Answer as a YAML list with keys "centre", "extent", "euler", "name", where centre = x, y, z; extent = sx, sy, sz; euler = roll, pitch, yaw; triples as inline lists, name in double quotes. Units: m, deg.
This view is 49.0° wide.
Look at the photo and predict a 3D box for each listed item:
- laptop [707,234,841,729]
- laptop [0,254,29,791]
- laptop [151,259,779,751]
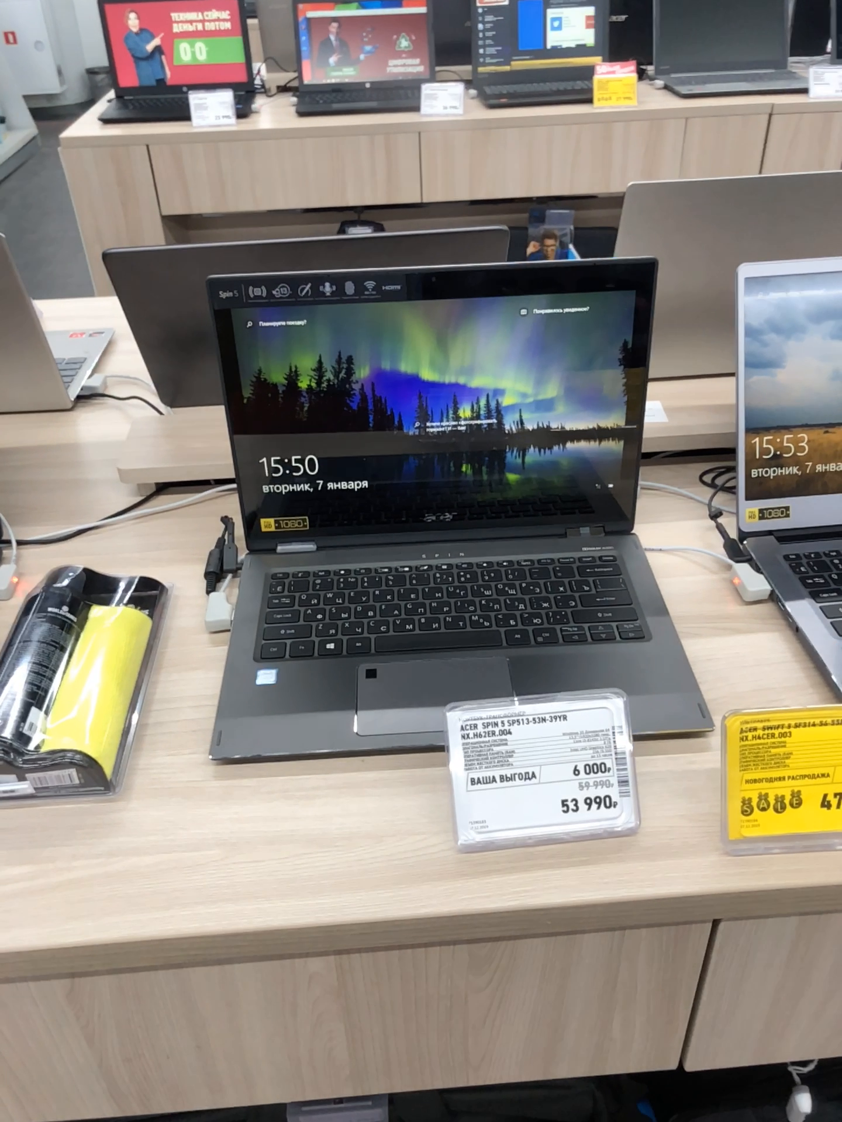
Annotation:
- centre: [0.404, -0.072, 0.640]
  extent: [0.270, 0.196, 0.300]
  euler: [-6, 35, -2]
  name: "laptop"
- centre: [-0.517, -0.044, 0.644]
  extent: [0.340, 0.215, 0.289]
  euler: [-4, 36, -1]
  name: "laptop"
- centre: [0.021, -0.049, 0.623]
  extent: [0.314, 0.215, 0.246]
  euler: [-3, 36, -1]
  name: "laptop"
